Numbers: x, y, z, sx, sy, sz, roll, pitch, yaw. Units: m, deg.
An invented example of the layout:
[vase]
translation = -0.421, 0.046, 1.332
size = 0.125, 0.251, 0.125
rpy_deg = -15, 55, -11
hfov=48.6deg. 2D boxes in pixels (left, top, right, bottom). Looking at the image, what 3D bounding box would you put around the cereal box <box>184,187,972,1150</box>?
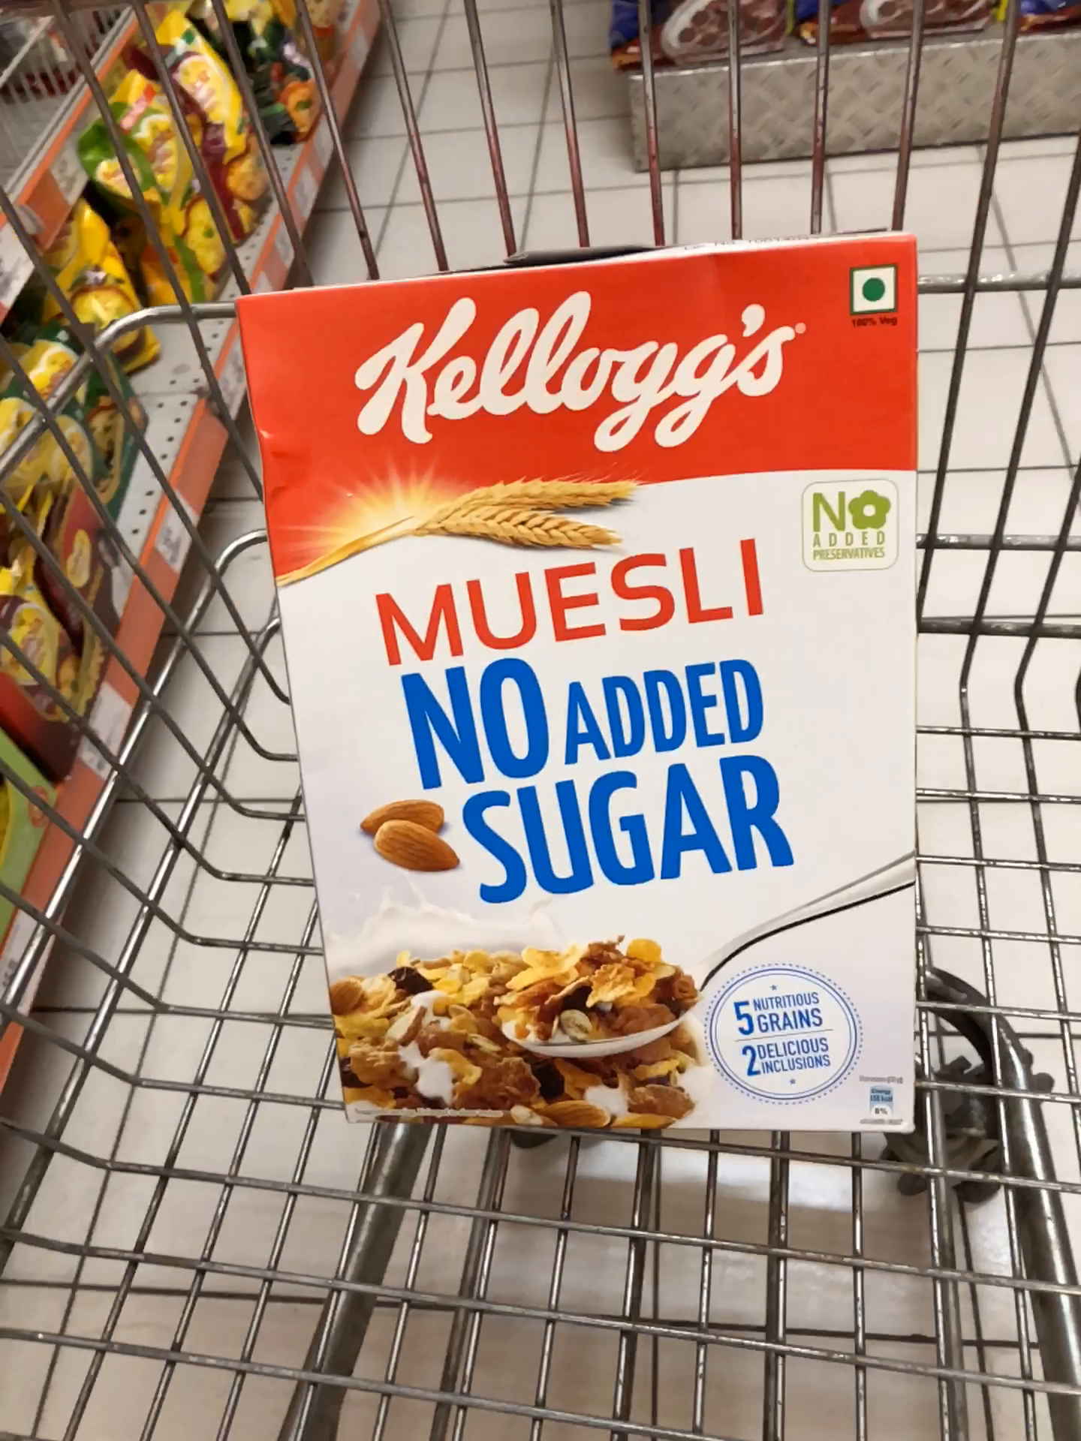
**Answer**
[cereal box]
translation = 0.018, -0.007, 0.358
size = 0.190, 0.259, 0.070
rpy_deg = -1, 18, 9
